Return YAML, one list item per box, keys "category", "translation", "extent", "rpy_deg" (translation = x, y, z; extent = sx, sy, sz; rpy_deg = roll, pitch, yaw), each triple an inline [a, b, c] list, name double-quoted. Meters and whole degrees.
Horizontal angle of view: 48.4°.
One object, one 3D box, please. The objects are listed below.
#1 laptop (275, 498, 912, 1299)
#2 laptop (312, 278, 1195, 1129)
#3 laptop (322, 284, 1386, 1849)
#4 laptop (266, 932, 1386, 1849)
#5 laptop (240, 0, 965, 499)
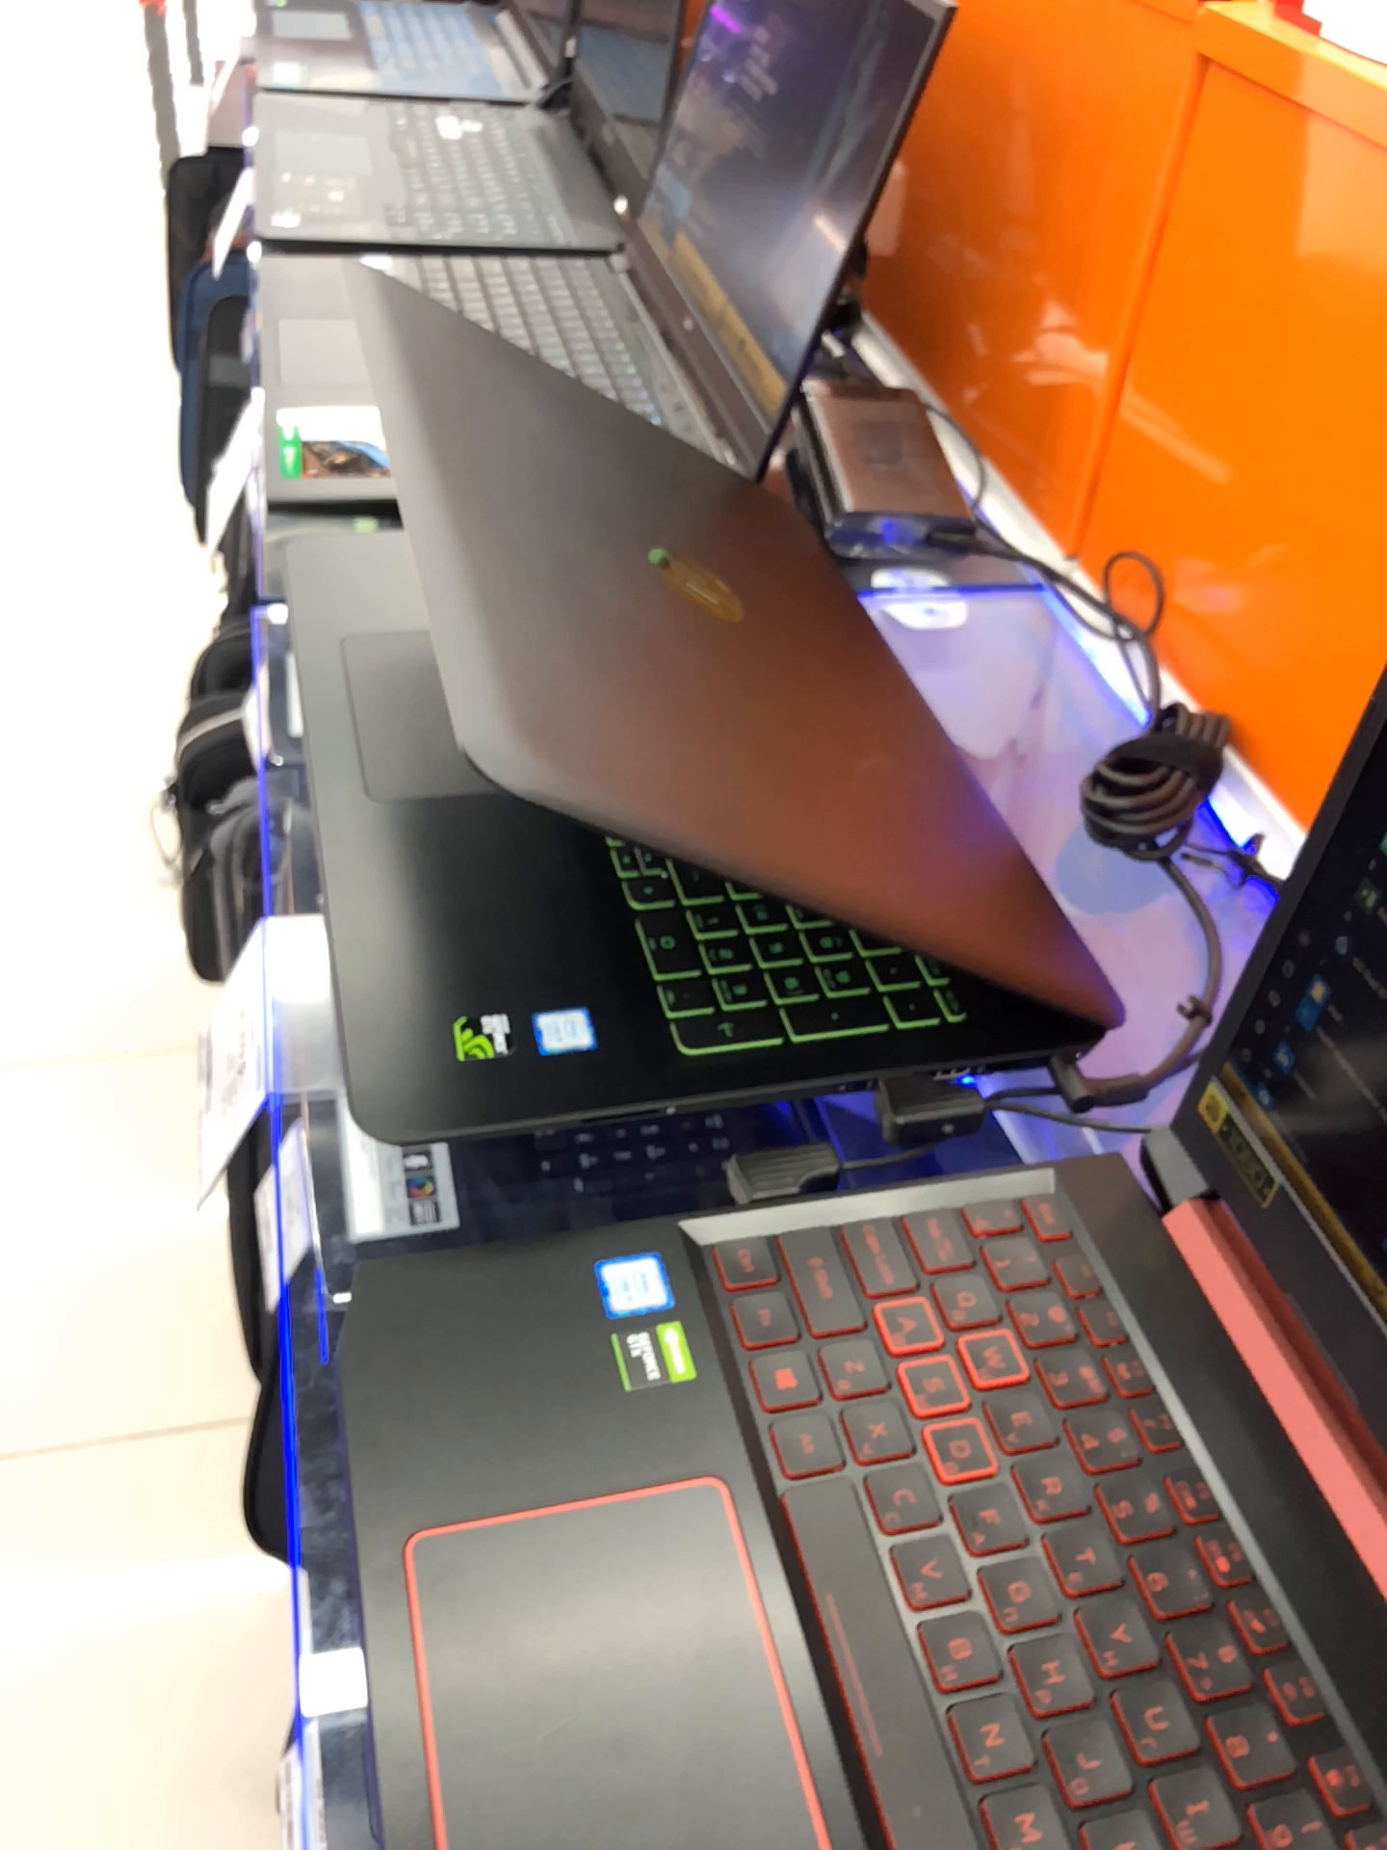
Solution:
- category: "laptop"
  translation: [-0.087, -0.044, 0.870]
  extent: [0.262, 0.217, 0.413]
  rpy_deg: [-5, 41, -13]
- category: "laptop"
  translation: [-0.016, -0.118, 0.577]
  extent: [0.227, 0.118, 0.371]
  rpy_deg: [-6, 41, -13]
- category: "laptop"
  translation: [0.104, 0.116, 0.211]
  extent: [0.253, 0.245, 0.411]
  rpy_deg: [-8, 42, -16]
- category: "laptop"
  translation: [0.012, 0.228, 0.528]
  extent: [0.275, 0.255, 0.399]
  rpy_deg: [-4, 39, -14]
- category: "laptop"
  translation: [-0.078, -0.416, 0.843]
  extent: [0.303, 0.219, 0.342]
  rpy_deg: [-5, 41, -13]
